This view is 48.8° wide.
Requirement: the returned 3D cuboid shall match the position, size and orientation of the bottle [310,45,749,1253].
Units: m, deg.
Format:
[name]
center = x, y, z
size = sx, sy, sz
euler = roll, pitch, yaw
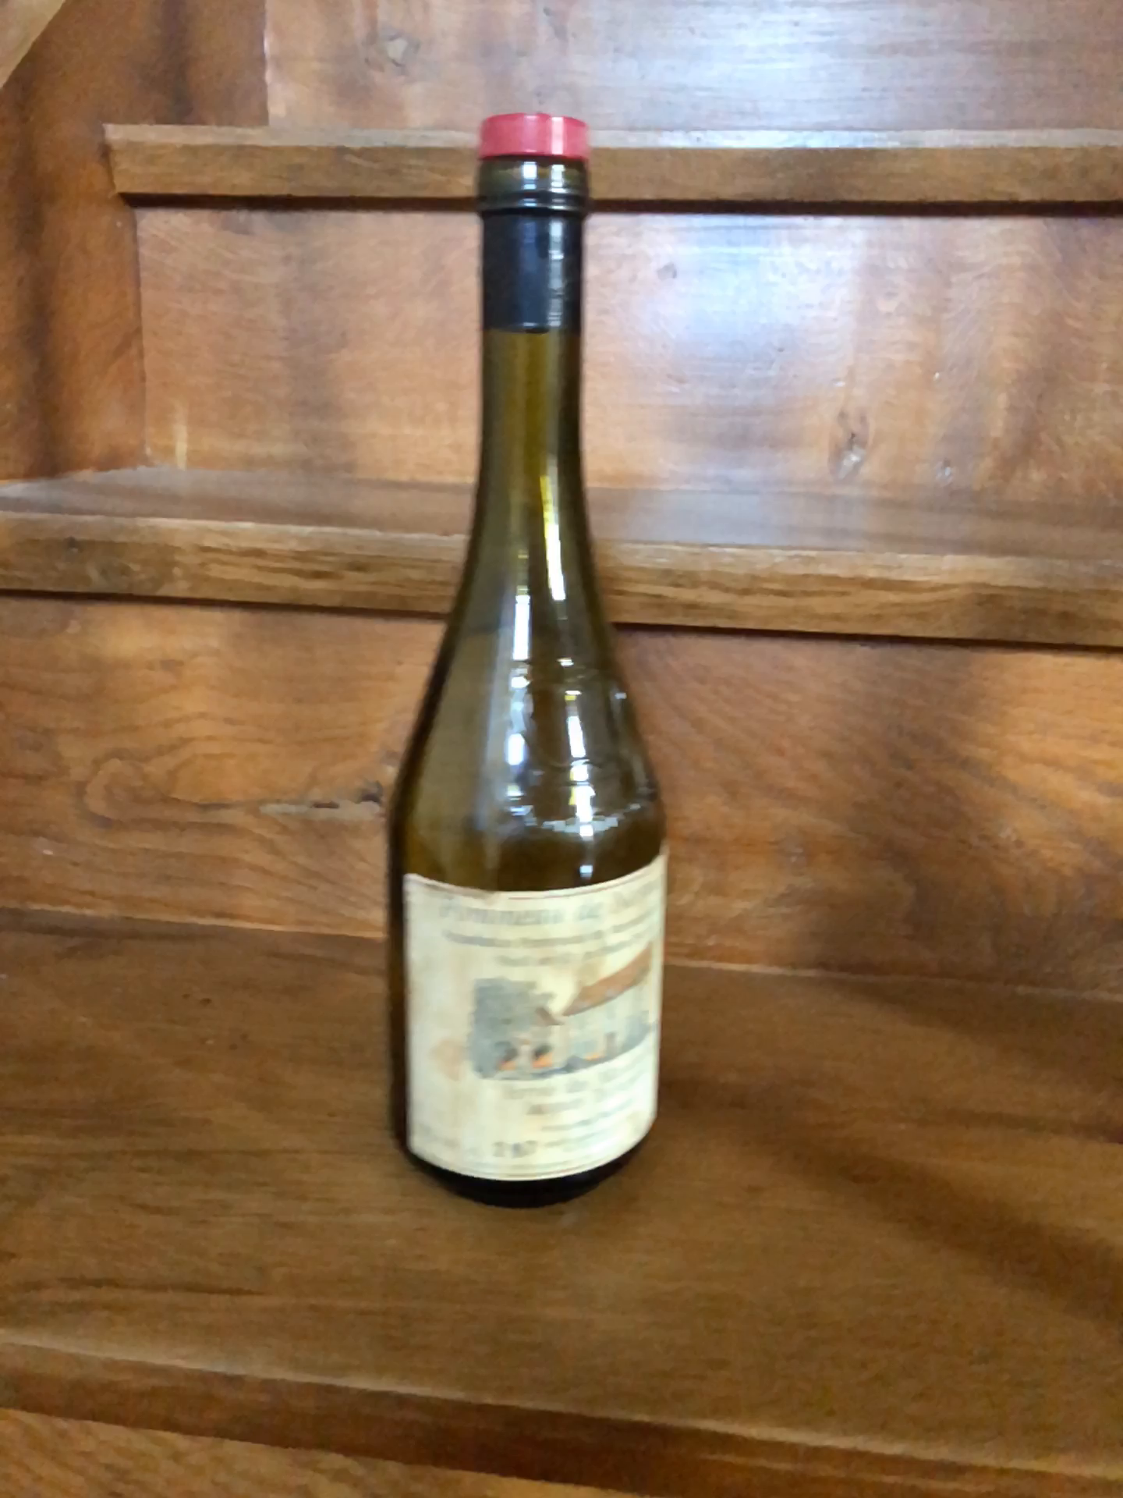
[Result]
[bottle]
center = -0.016, -0.021, 0.370
size = 0.090, 0.309, 0.090
euler = 1, 15, 0
